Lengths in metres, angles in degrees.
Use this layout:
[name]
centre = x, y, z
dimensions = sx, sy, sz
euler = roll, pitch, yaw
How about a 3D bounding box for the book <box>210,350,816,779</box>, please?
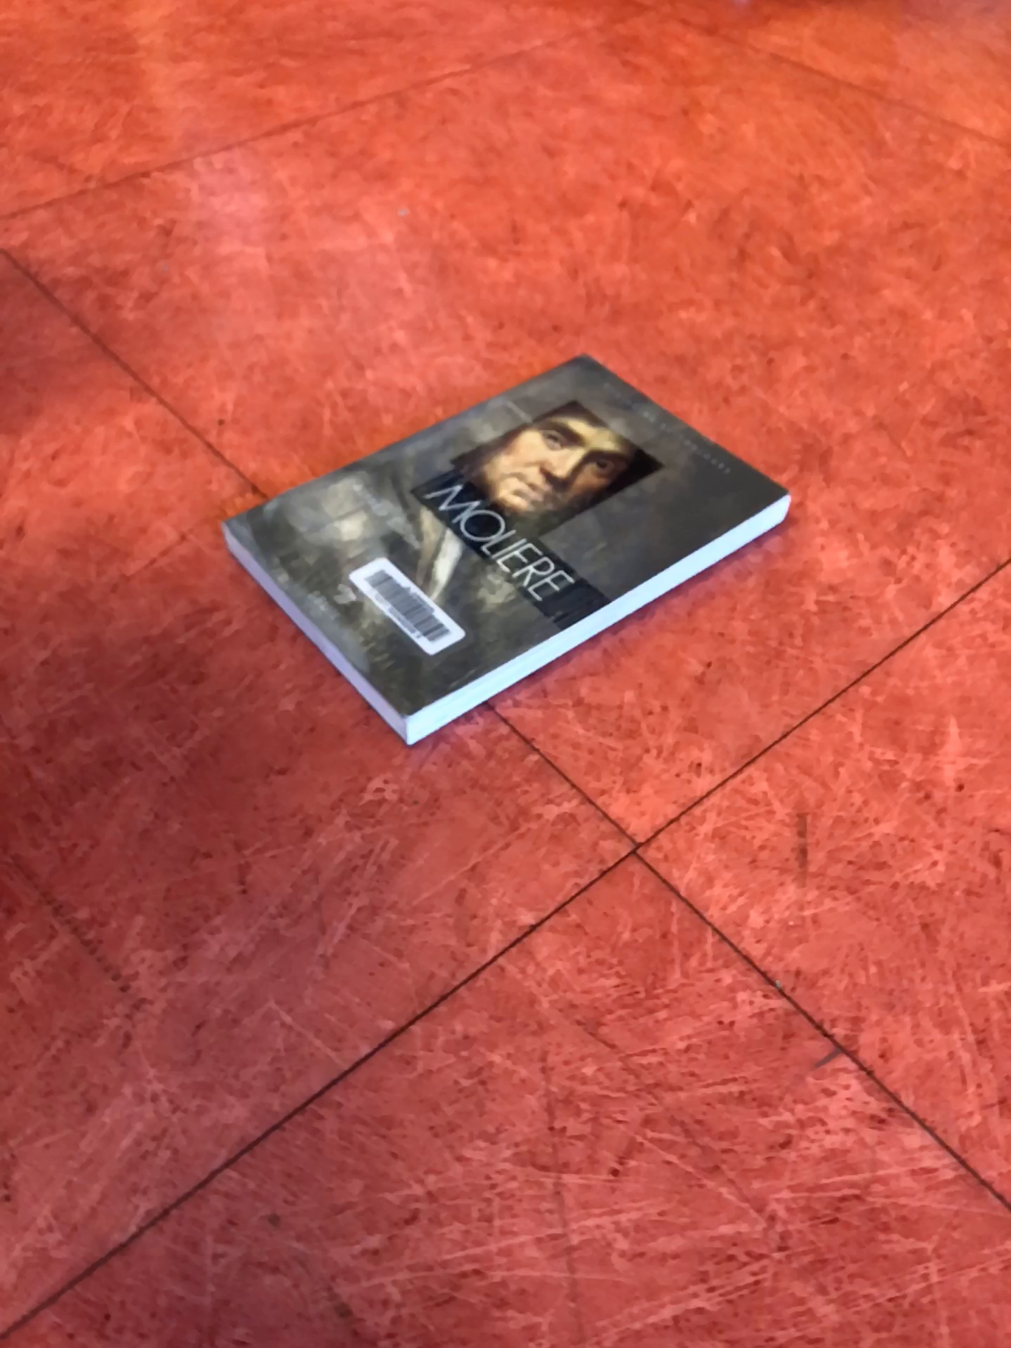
[book]
centre = 0.004, -0.054, 0.425
dimensions = 0.184, 0.015, 0.134
euler = -31, 55, -24
